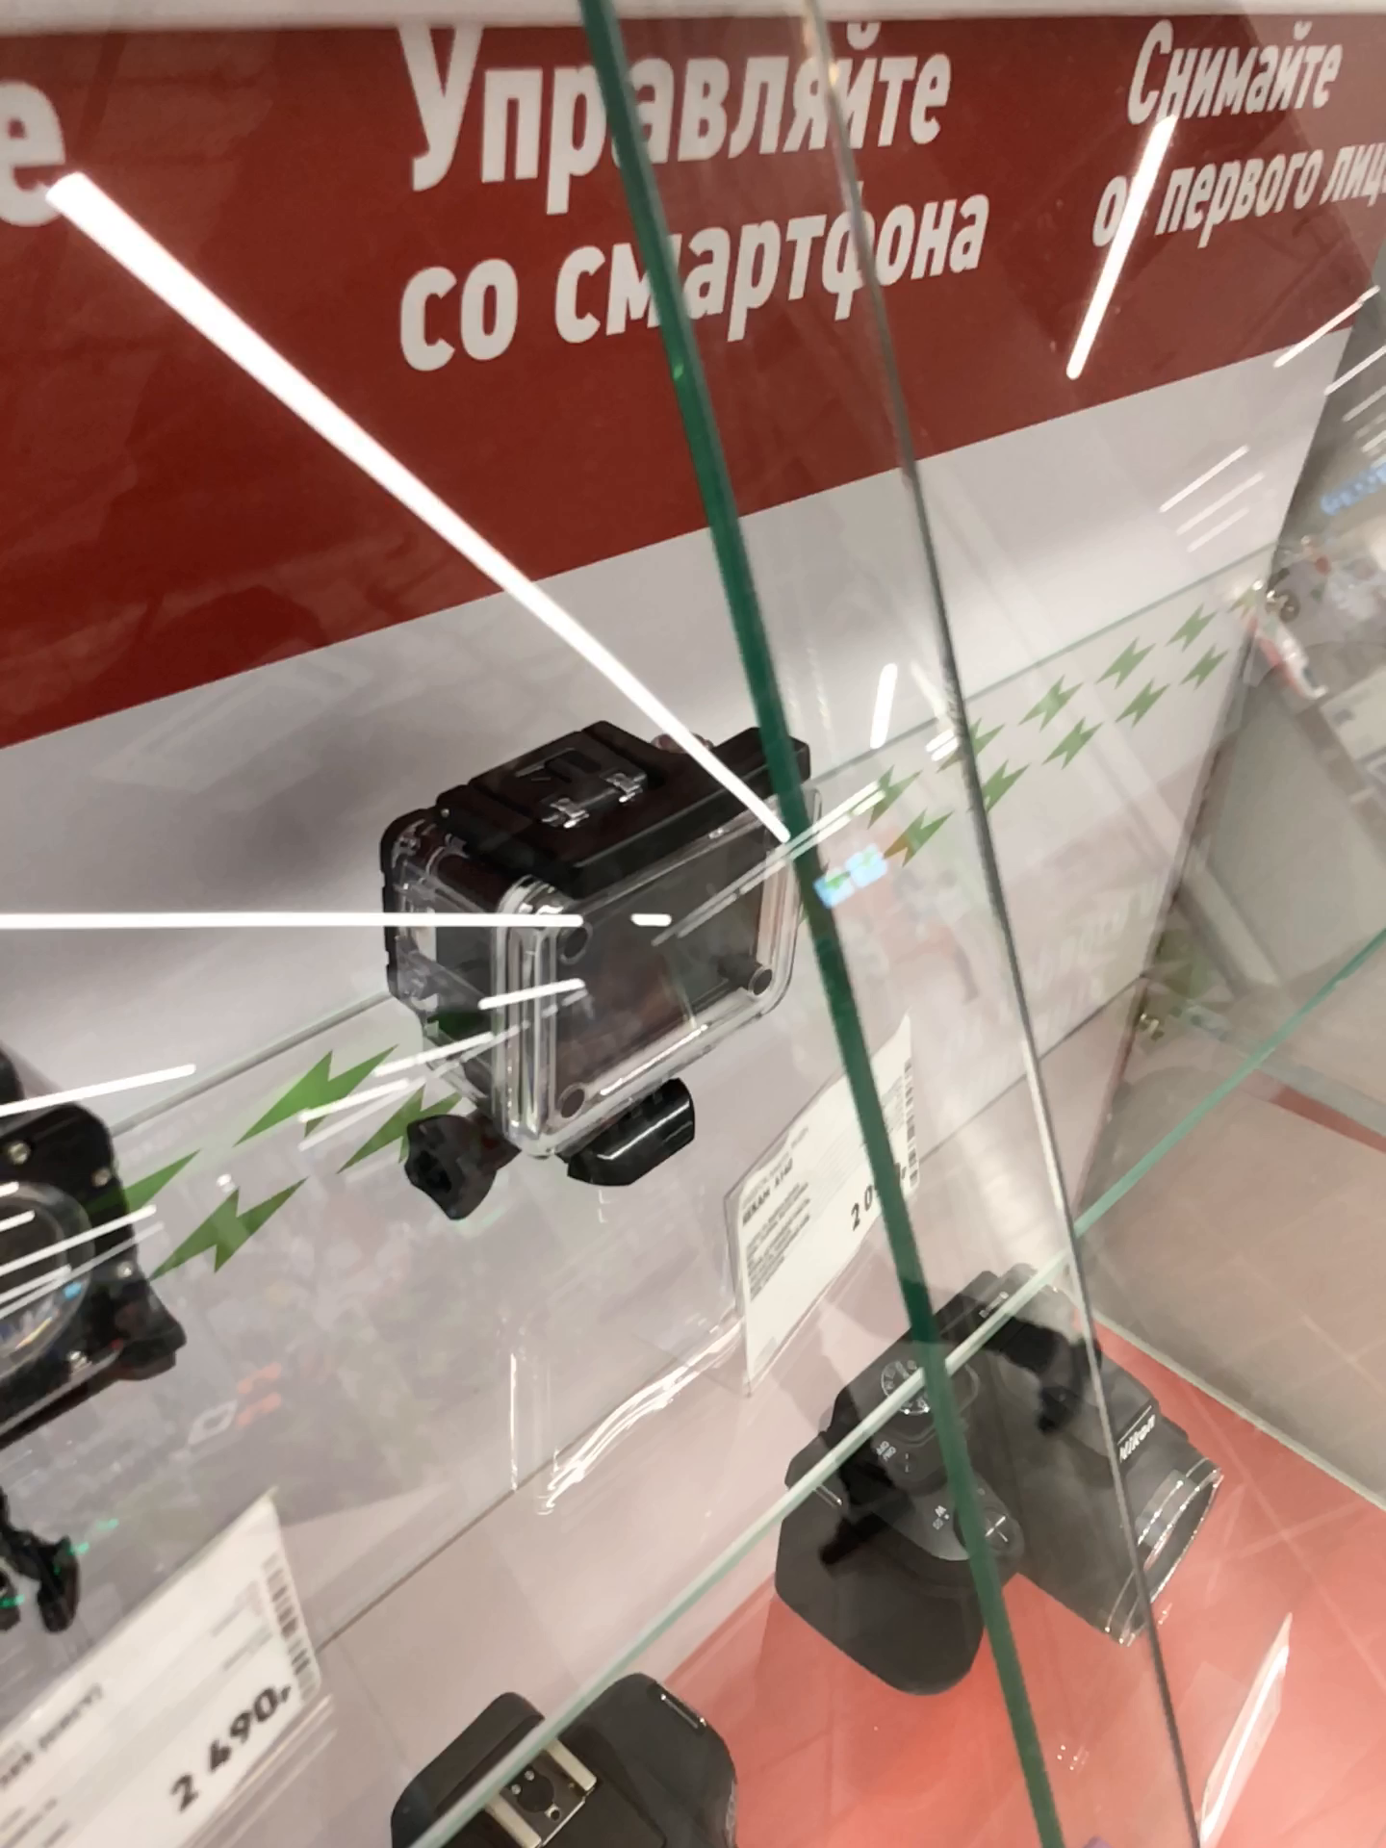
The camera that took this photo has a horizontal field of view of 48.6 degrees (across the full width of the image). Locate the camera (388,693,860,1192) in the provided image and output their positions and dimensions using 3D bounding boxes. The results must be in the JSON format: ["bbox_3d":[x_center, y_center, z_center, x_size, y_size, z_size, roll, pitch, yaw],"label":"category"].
[{"bbox_3d":[-0.012,0.000,0.276,0.040,0.053,0.076,29,40,31],"label":"camera"}]
